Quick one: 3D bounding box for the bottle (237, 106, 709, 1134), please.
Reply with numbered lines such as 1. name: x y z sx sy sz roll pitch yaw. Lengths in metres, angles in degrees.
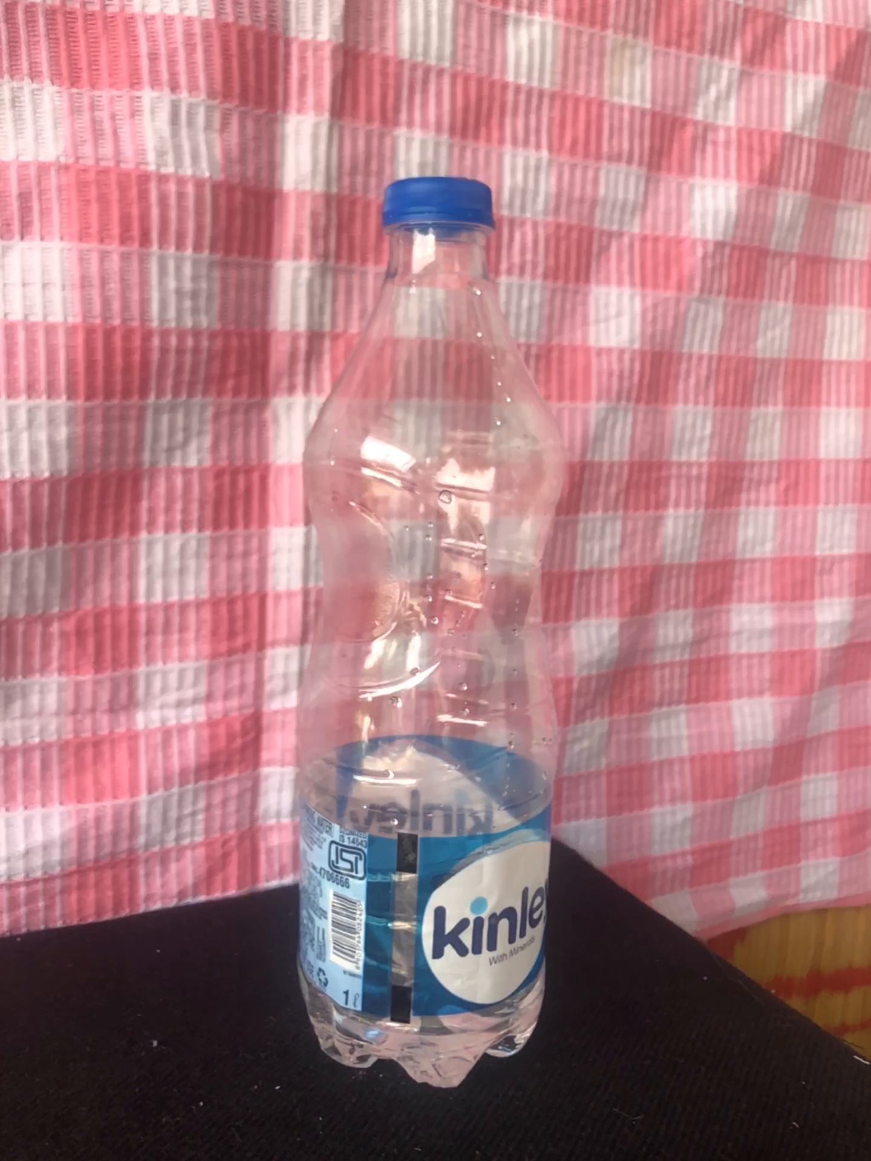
1. bottle: 0.007 0.011 0.298 0.080 0.259 0.090 15 15 43
